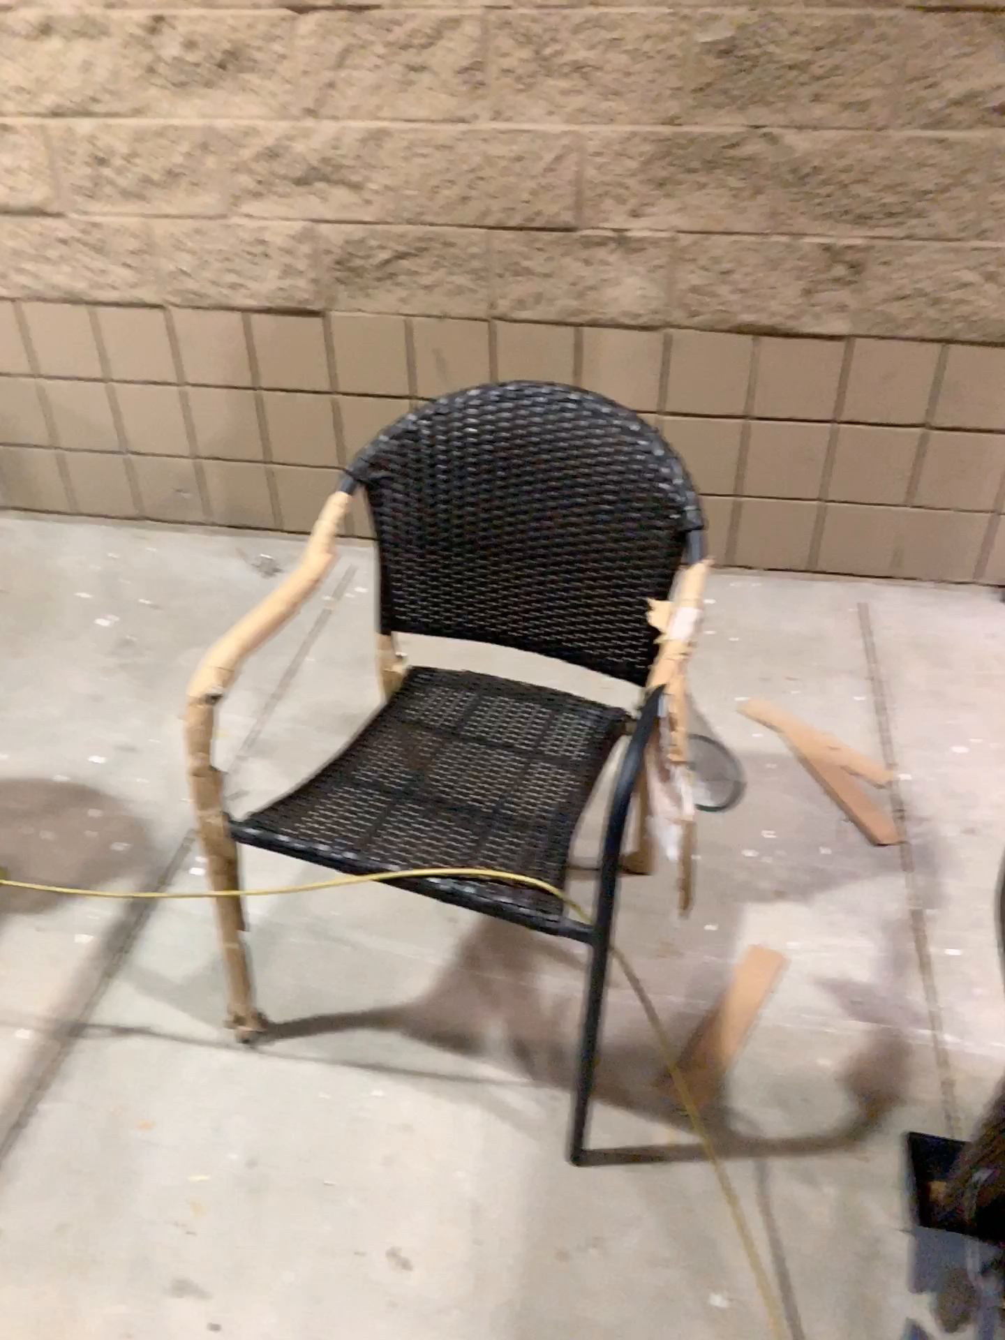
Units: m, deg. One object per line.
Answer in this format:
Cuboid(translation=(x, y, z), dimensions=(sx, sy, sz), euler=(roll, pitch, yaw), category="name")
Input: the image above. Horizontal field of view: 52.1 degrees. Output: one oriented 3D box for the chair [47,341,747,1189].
Cuboid(translation=(-0.063, 0.099, 1.380), dimensions=(0.576, 0.839, 0.600), euler=(11, 37, 17), category="chair")
